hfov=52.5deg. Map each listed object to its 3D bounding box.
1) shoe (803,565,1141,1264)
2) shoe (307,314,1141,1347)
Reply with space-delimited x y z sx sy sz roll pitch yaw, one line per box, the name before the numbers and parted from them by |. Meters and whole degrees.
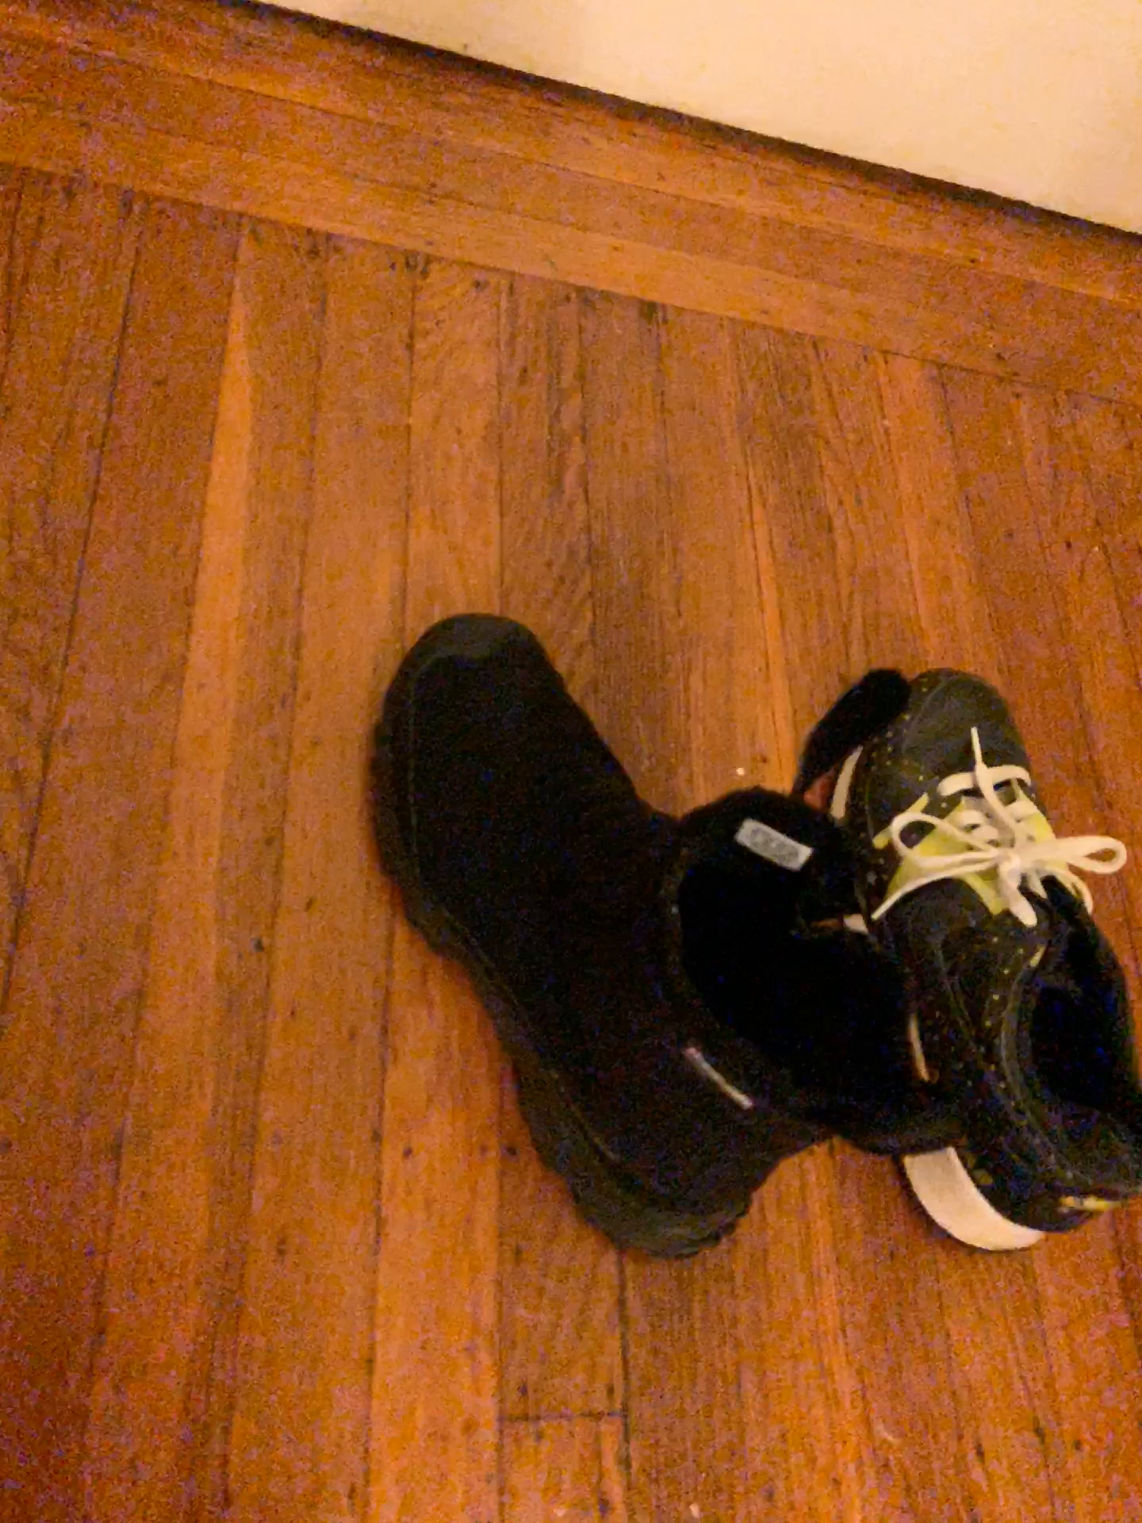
shoe | 0.209 0.065 0.531 0.120 0.100 0.290 2 66 -18
shoe | 0.037 0.036 0.470 0.160 0.239 0.310 -19 74 -25
